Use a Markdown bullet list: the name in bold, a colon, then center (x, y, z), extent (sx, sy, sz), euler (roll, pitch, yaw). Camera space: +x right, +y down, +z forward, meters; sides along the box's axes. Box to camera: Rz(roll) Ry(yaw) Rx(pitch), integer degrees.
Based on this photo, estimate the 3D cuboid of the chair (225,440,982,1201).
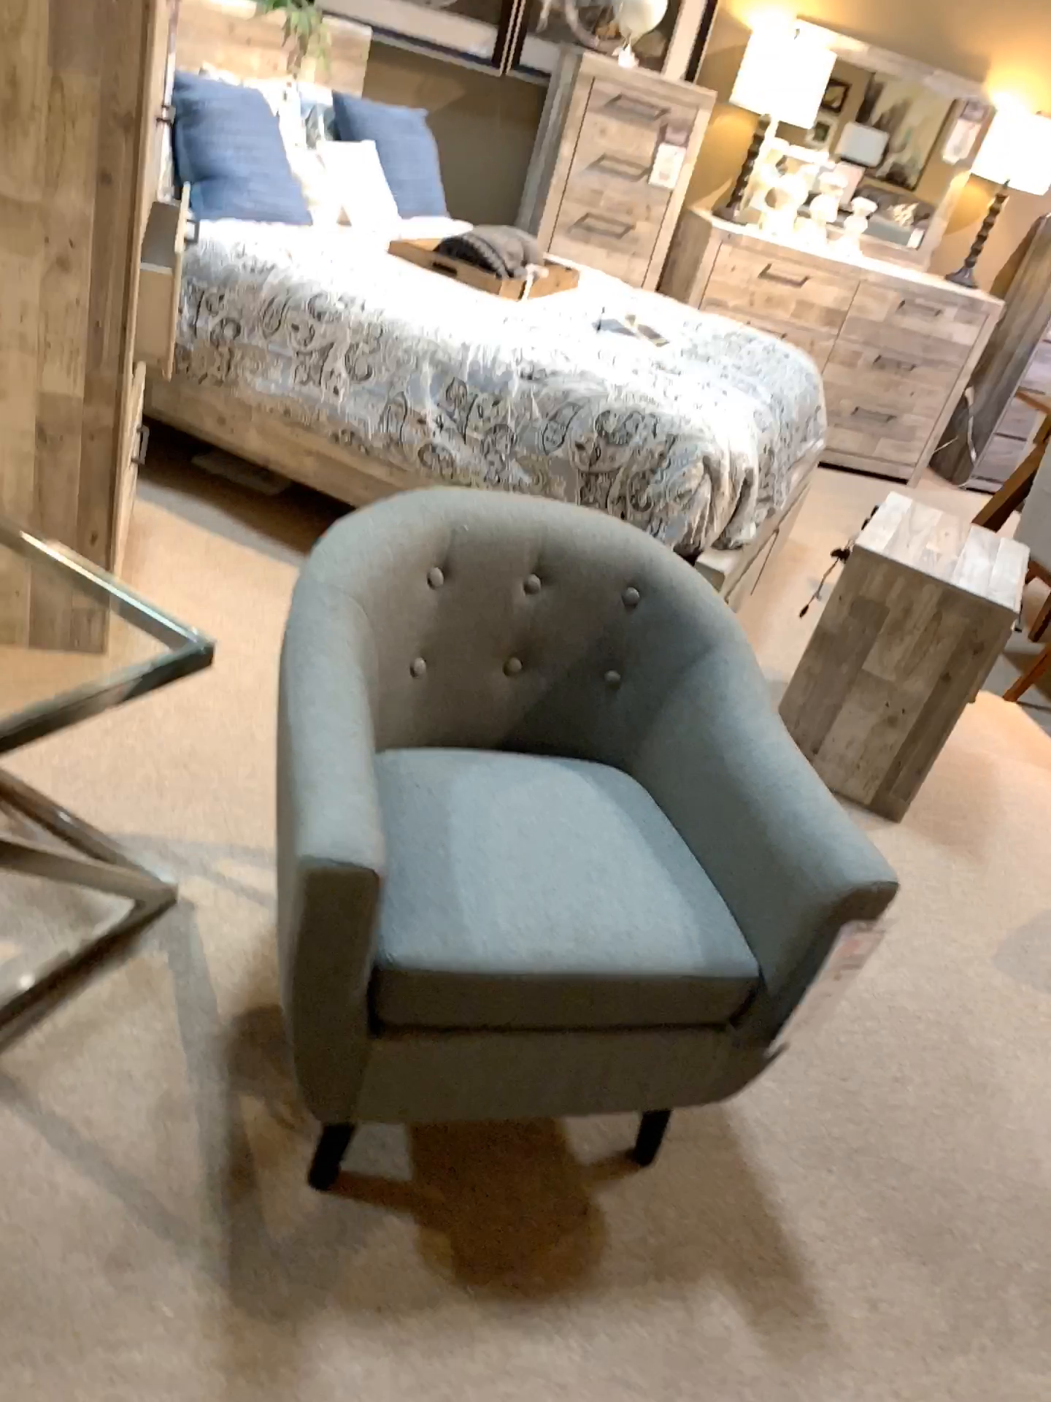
- **chair**: center (-0.006, 0.157, 1.560), extent (0.748, 0.702, 0.744), euler (6, 33, -19)
